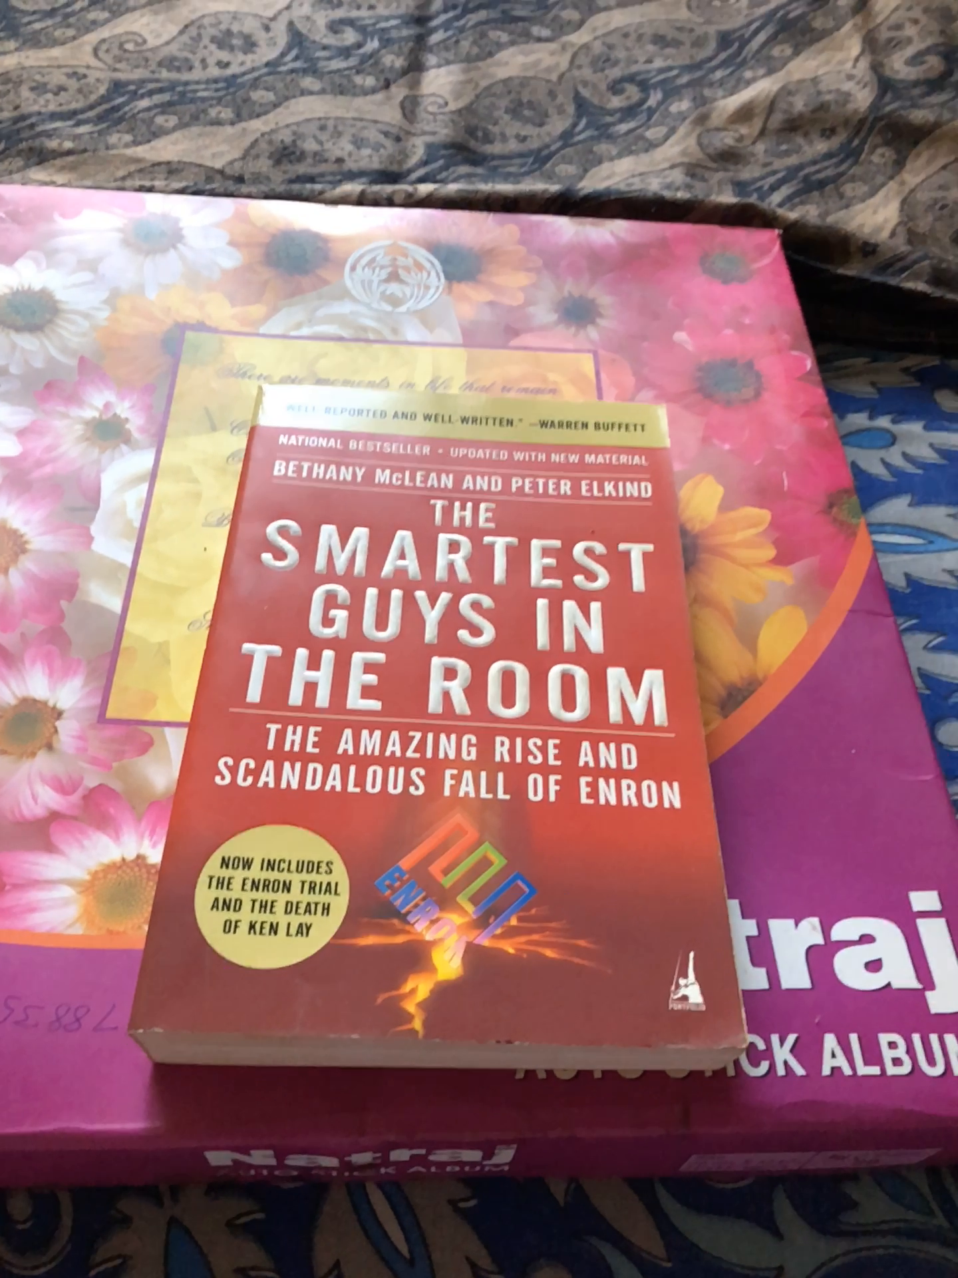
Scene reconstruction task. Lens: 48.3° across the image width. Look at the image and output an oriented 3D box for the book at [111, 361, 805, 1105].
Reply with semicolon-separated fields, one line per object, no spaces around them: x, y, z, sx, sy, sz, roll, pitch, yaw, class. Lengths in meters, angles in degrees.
-0.003;0.011;0.309;0.150;0.040;0.220;1;56;1;book
